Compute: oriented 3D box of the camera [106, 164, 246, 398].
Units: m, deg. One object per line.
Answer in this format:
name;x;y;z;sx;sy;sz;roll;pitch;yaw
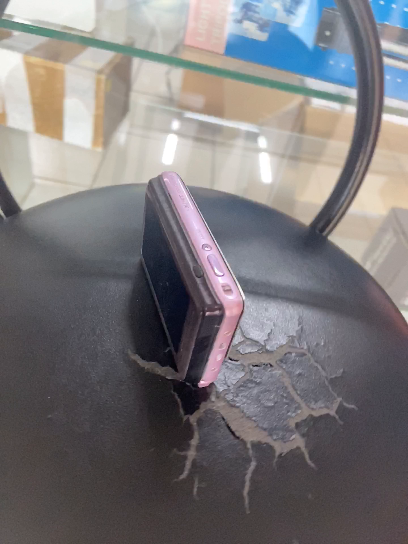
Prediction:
camera;-0.020;-0.001;0.201;0.030;0.050;0.100;-7;48;-22
